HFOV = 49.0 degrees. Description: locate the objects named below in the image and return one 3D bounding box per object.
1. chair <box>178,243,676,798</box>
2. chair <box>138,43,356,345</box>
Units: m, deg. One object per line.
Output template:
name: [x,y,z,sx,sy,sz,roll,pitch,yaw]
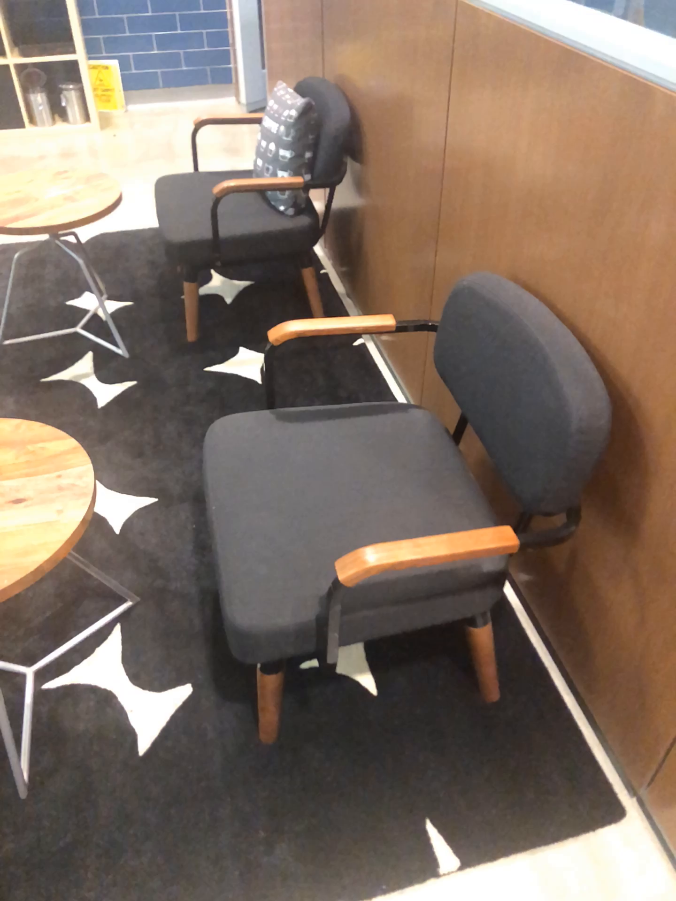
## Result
chair: [0.084,0.096,1.426,0.681,0.714,0.685,-6,40,-12]
chair: [-0.325,-0.867,2.453,0.571,0.714,0.736,-5,40,-12]
